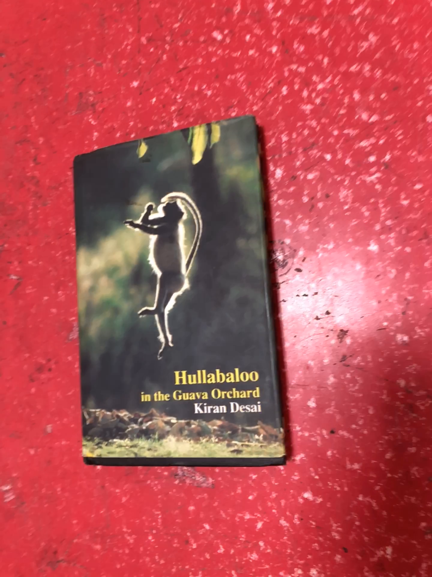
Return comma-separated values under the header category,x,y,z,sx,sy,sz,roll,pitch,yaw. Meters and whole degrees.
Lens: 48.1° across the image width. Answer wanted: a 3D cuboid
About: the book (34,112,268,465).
category,x,y,z,sx,sy,sz,roll,pitch,yaw
book,-0.054,0.005,0.351,0.160,0.030,0.230,-7,82,19
